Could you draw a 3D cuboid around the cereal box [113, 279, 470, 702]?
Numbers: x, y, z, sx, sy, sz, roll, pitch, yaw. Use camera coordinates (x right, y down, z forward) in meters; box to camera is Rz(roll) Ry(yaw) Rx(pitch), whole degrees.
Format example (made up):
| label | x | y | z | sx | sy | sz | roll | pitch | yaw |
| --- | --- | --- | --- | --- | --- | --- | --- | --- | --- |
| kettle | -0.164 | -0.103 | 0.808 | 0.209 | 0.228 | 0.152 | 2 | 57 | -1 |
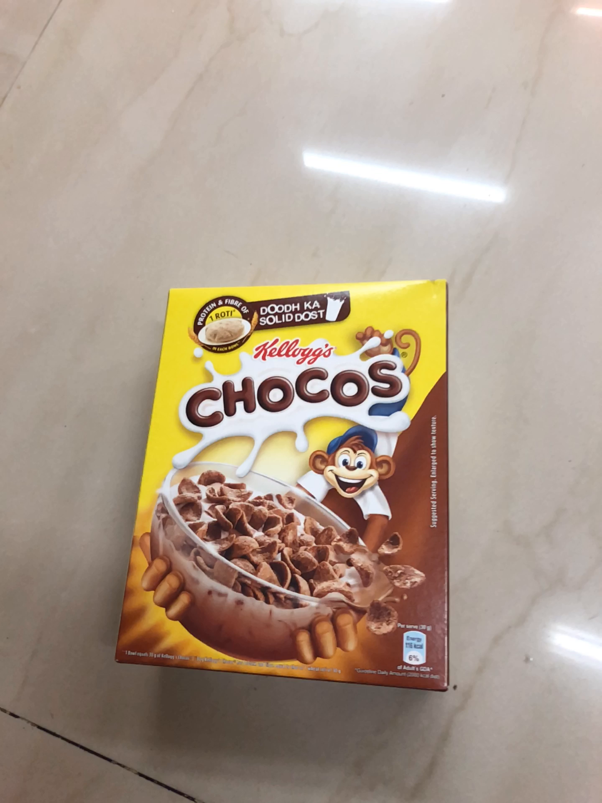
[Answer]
| label | x | y | z | sx | sy | sz | roll | pitch | yaw |
| --- | --- | --- | --- | --- | --- | --- | --- | --- | --- |
| cereal box | 0.003 | 0.034 | 0.305 | 0.140 | 0.050 | 0.170 | 1 | 74 | 11 |
